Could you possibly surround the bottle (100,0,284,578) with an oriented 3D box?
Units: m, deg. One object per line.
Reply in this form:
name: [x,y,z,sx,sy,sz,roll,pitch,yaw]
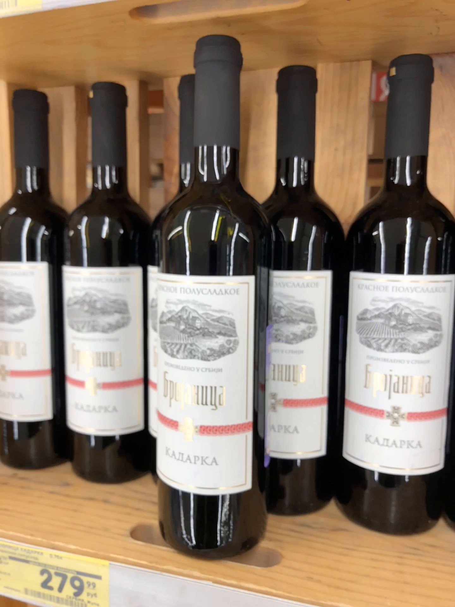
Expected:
bottle: [-0.017,-0.010,0.309,0.080,0.080,0.309,3,98,18]
